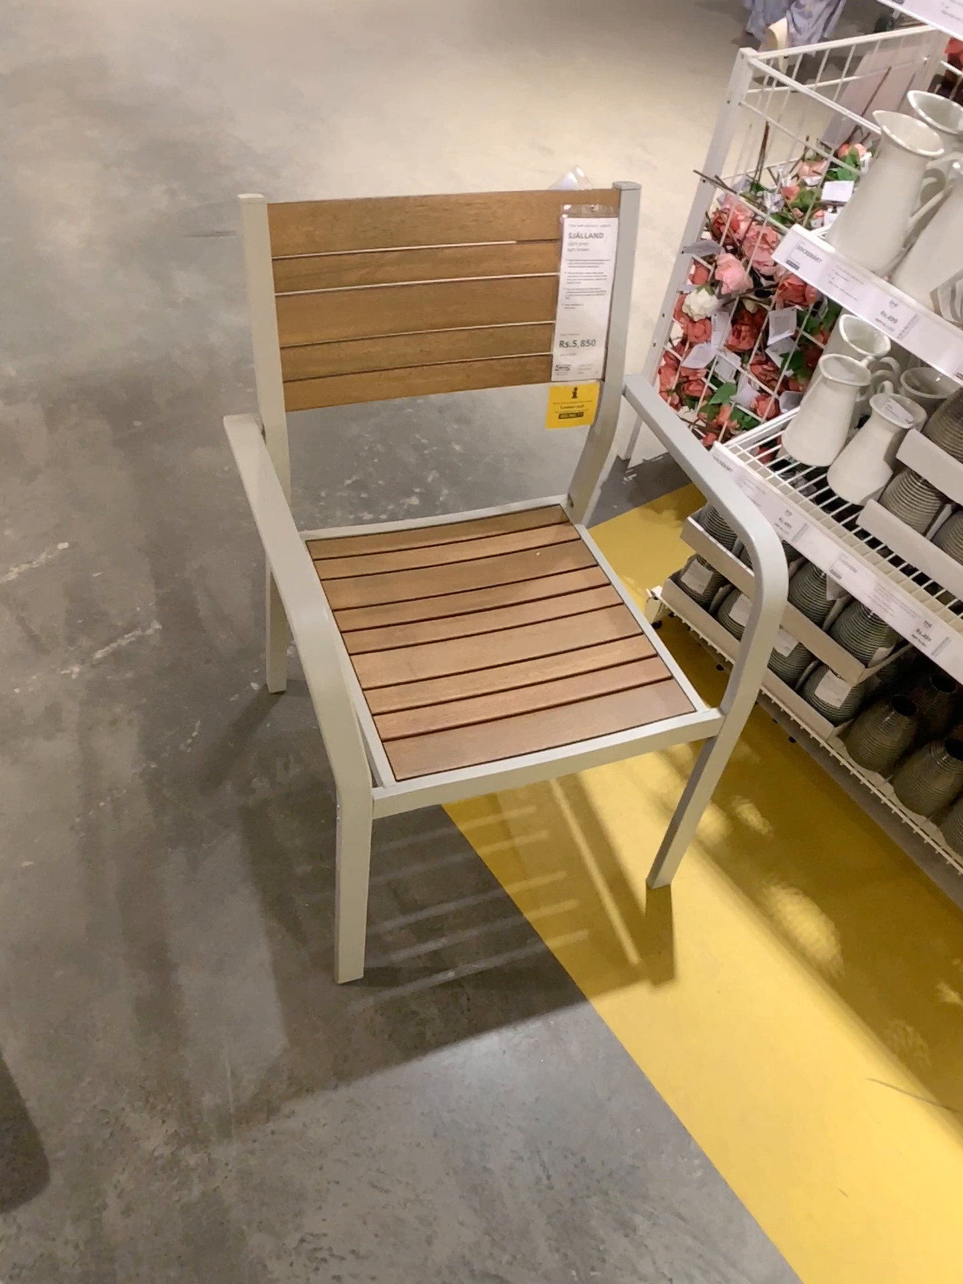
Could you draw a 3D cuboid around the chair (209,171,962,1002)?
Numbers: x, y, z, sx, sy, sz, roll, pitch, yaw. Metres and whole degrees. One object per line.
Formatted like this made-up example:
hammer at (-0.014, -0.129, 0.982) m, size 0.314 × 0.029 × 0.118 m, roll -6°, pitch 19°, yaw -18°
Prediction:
chair at (0.033, -0.061, 1.197) m, size 0.560 × 0.728 × 0.601 m, roll -11°, pitch 53°, yaw -18°
